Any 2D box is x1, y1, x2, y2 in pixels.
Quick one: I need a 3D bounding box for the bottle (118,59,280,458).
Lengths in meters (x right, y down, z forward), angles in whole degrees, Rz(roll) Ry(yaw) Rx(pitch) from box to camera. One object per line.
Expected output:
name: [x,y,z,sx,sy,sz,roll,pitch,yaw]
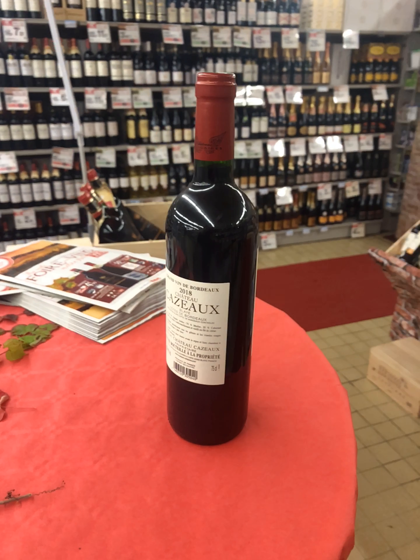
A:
bottle: [-0.006,-0.013,0.378,0.080,0.298,0.080,0,22,0]
